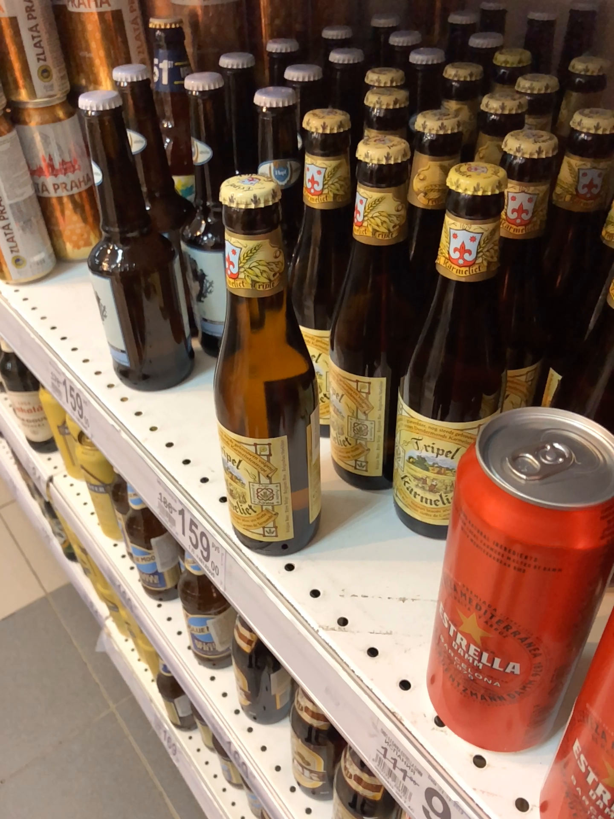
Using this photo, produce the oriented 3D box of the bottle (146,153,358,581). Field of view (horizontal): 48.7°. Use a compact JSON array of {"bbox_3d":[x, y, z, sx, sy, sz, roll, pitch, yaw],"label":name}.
[{"bbox_3d":[-0.022,-0.014,0.375,0.070,0.219,0.070,-2,38,1],"label":"bottle"}]
